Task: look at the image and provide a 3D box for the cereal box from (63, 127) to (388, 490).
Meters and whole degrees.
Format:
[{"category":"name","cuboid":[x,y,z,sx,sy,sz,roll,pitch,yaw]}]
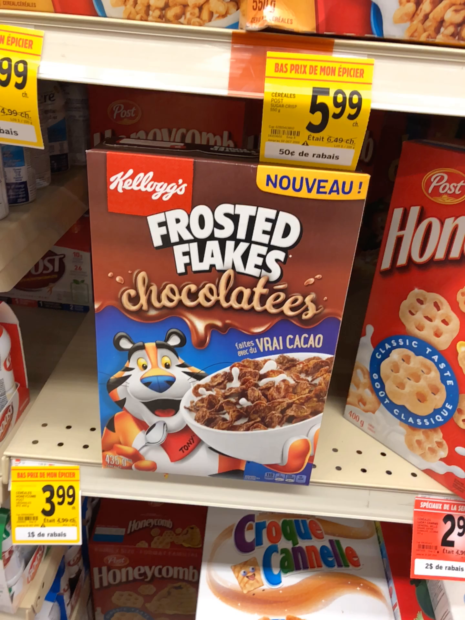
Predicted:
[{"category":"cereal box","cuboid":[-0.014,0.009,0.424,0.210,0.278,0.071,5,27,1]}]
